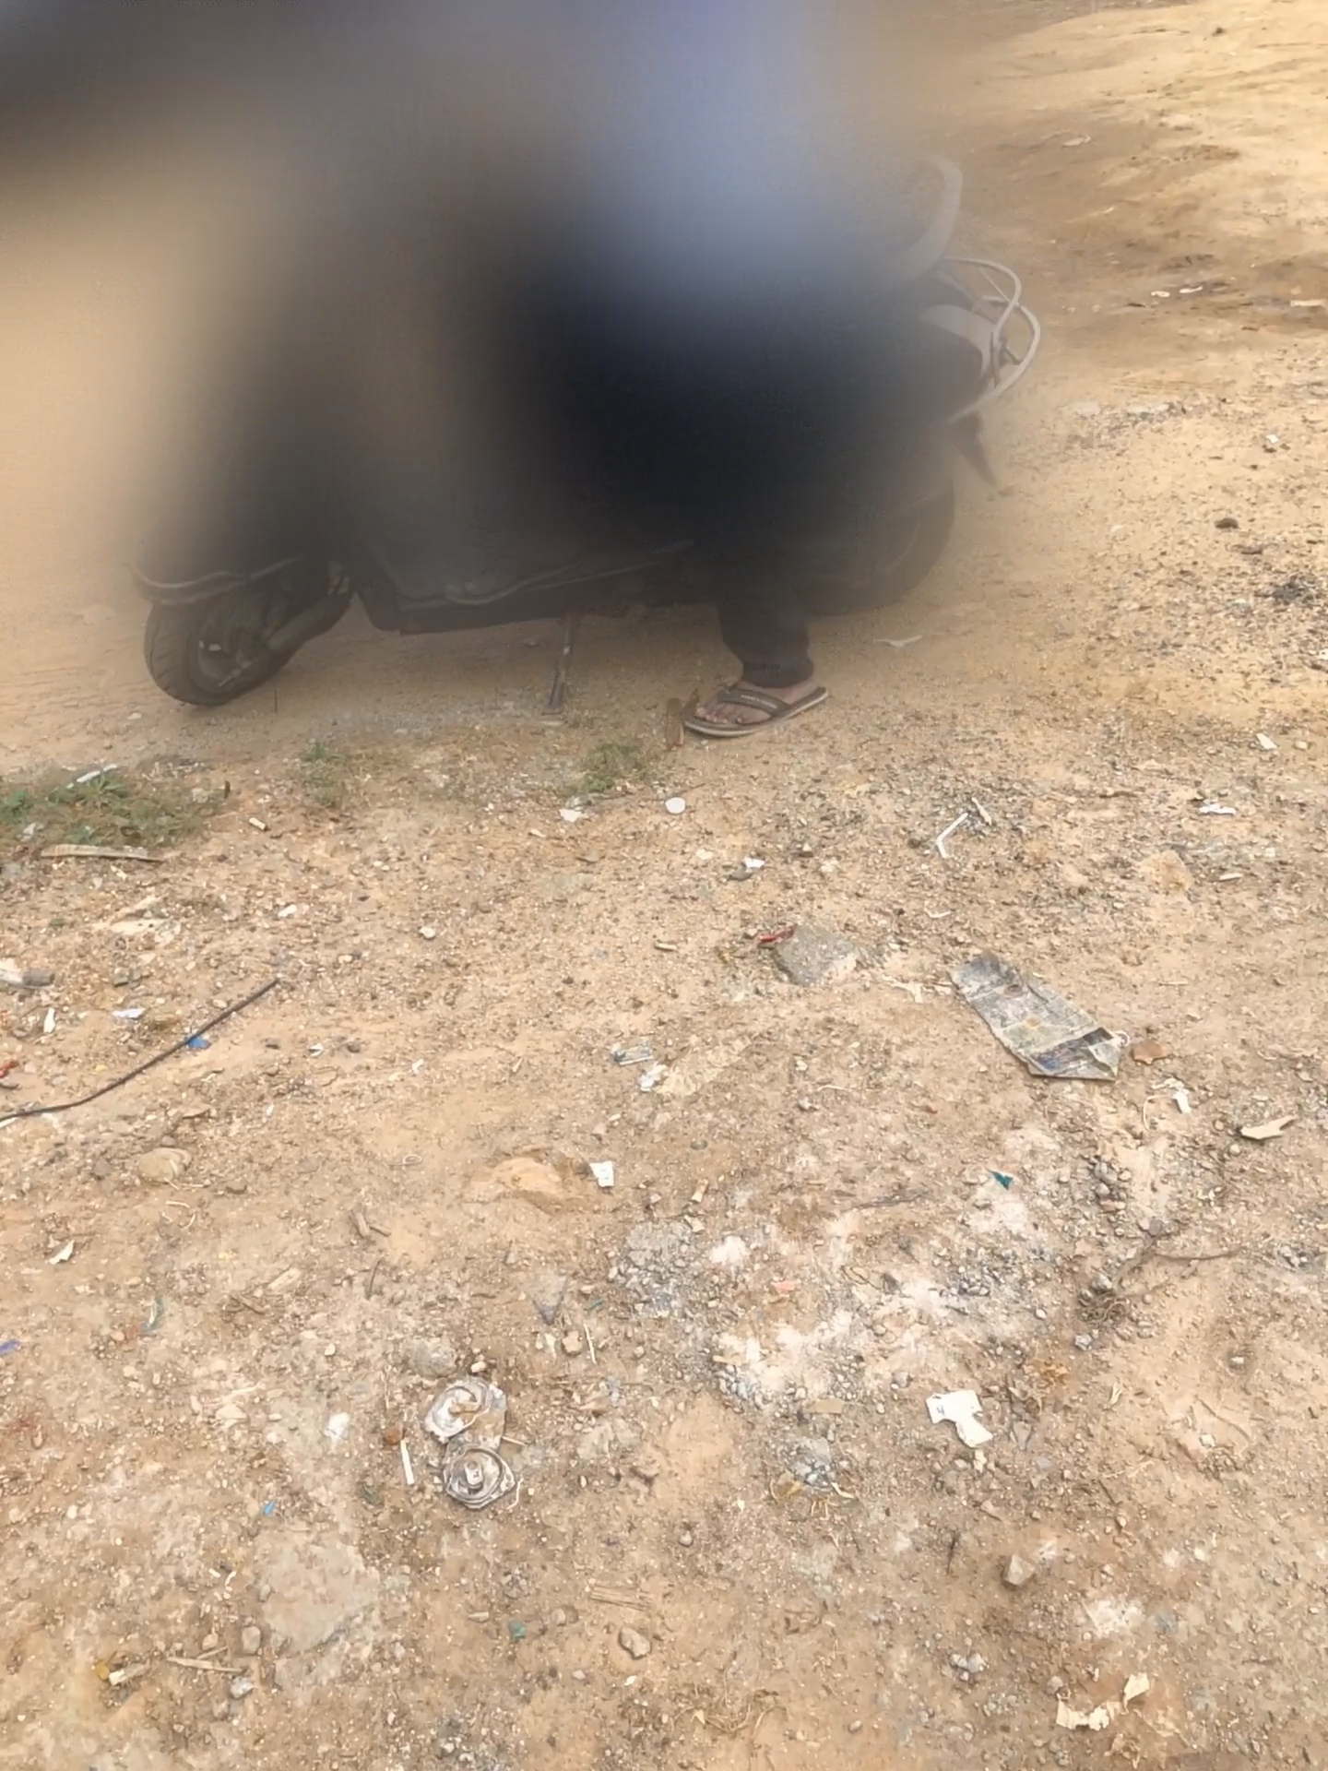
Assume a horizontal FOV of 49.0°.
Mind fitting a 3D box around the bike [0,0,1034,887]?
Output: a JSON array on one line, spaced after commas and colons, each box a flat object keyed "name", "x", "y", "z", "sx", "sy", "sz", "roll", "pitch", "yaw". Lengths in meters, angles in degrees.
[{"name": "bike", "x": -0.219, "y": -0.777, "z": 2.450, "sx": 1.523, "sy": 1.102, "sz": 0.577, "roll": -13, "pitch": 35, "yaw": -3}]
